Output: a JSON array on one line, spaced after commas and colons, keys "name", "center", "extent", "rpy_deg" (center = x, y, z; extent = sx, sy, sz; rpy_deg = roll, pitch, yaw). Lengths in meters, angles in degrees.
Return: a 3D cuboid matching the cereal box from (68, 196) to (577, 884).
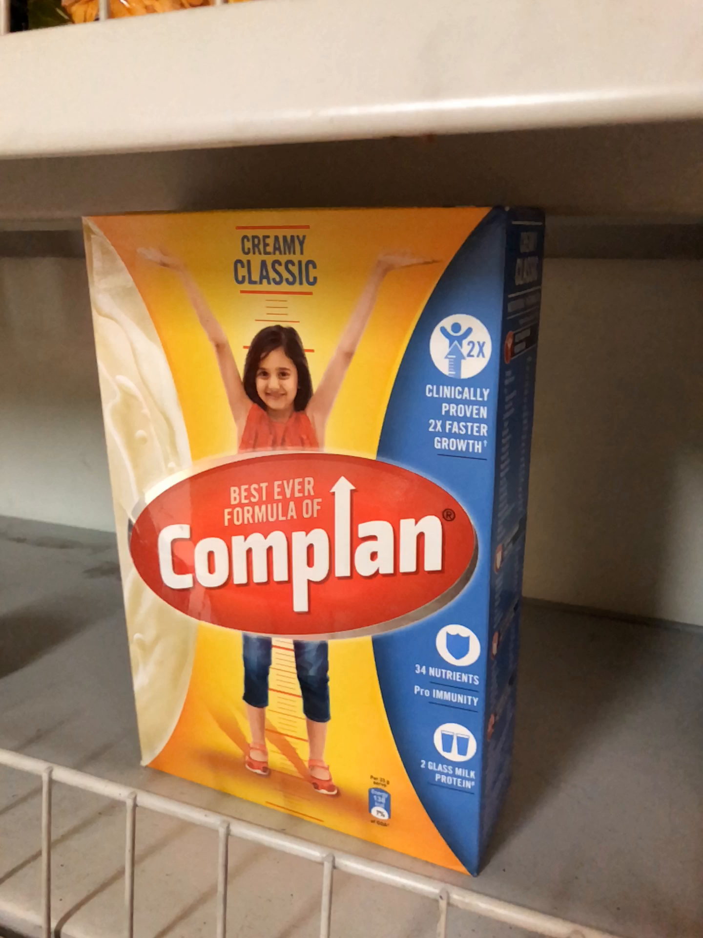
[{"name": "cereal box", "center": [-0.011, 0.017, 0.266], "extent": [0.150, 0.199, 0.050], "rpy_deg": [6, 16, 23]}]
